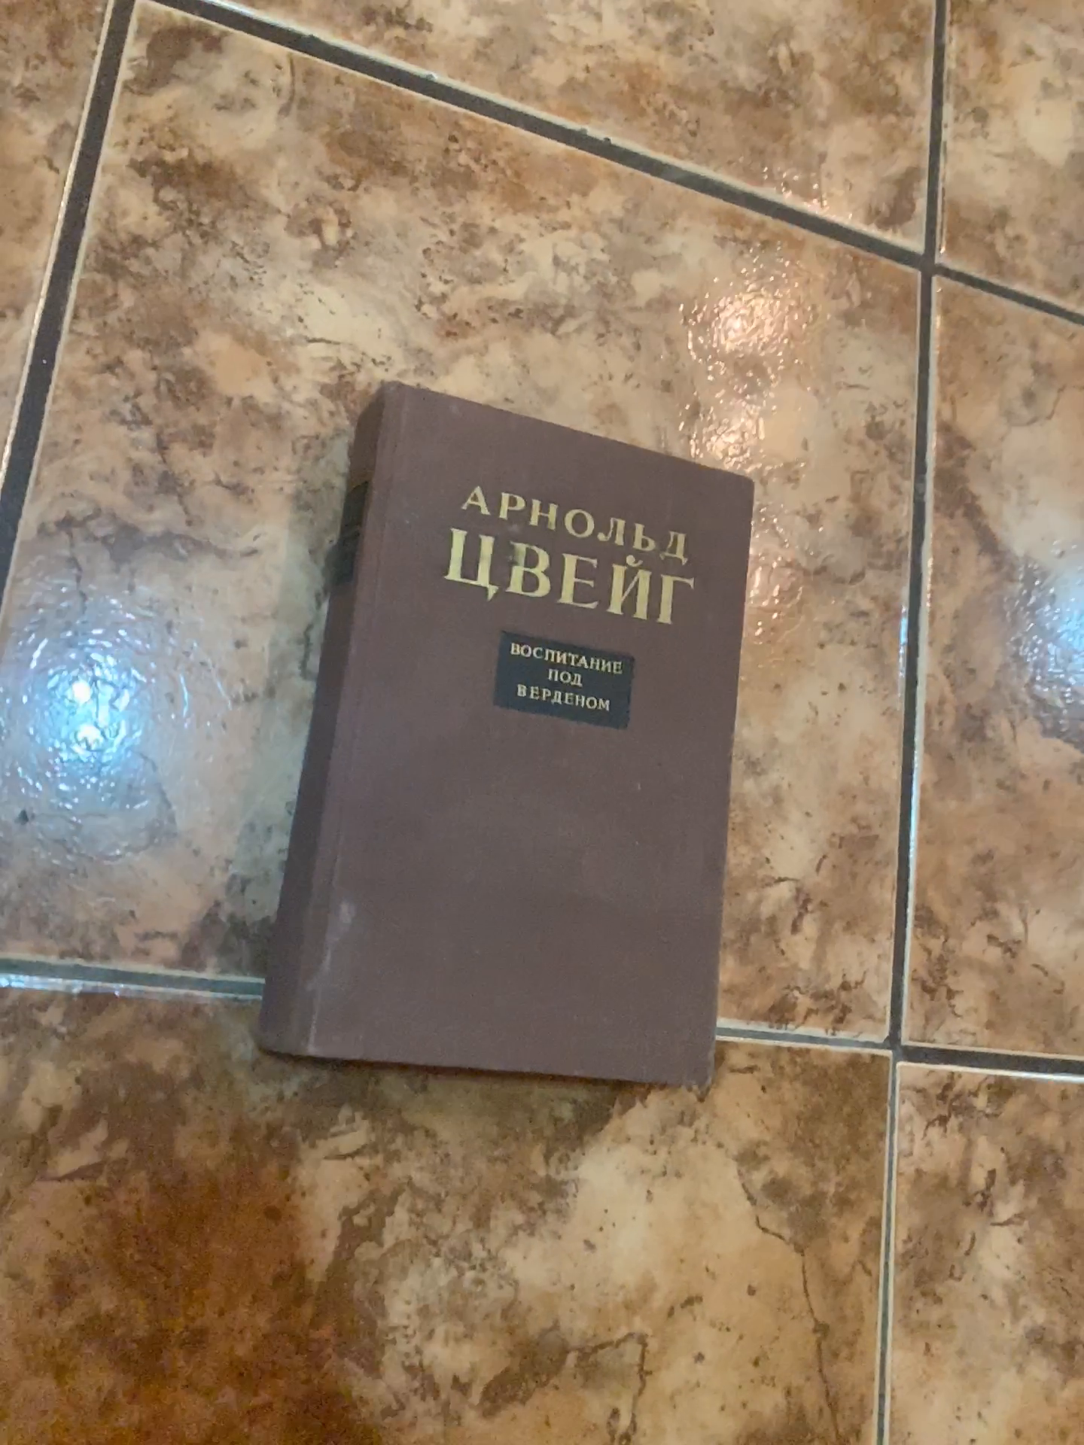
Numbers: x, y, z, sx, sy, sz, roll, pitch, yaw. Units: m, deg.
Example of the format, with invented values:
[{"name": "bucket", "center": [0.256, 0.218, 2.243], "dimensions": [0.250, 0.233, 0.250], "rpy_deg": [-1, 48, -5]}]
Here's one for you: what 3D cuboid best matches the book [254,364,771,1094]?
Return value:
[{"name": "book", "center": [-0.003, 0.005, 0.356], "dimensions": [0.139, 0.034, 0.205], "rpy_deg": [10, 78, -18]}]
